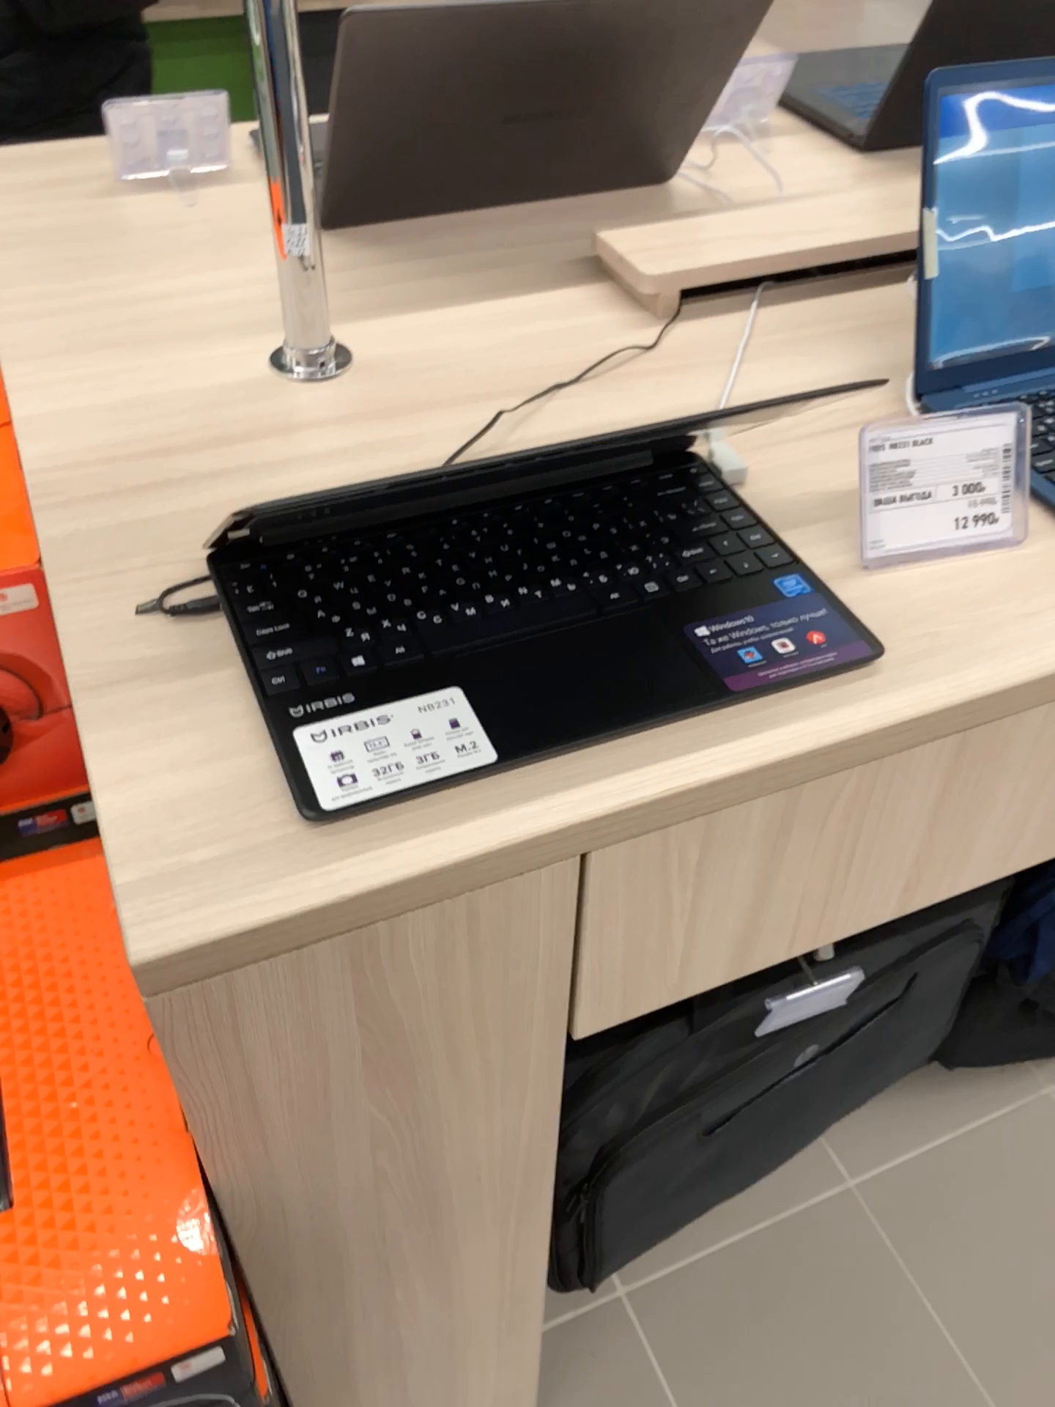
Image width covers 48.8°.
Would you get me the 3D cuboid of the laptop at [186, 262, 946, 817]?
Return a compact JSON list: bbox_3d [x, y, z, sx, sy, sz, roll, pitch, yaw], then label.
[{"bbox_3d":[0.009,-0.099,0.589,0.299,0.132,0.204,-15,46,-17],"label":"laptop"}]
